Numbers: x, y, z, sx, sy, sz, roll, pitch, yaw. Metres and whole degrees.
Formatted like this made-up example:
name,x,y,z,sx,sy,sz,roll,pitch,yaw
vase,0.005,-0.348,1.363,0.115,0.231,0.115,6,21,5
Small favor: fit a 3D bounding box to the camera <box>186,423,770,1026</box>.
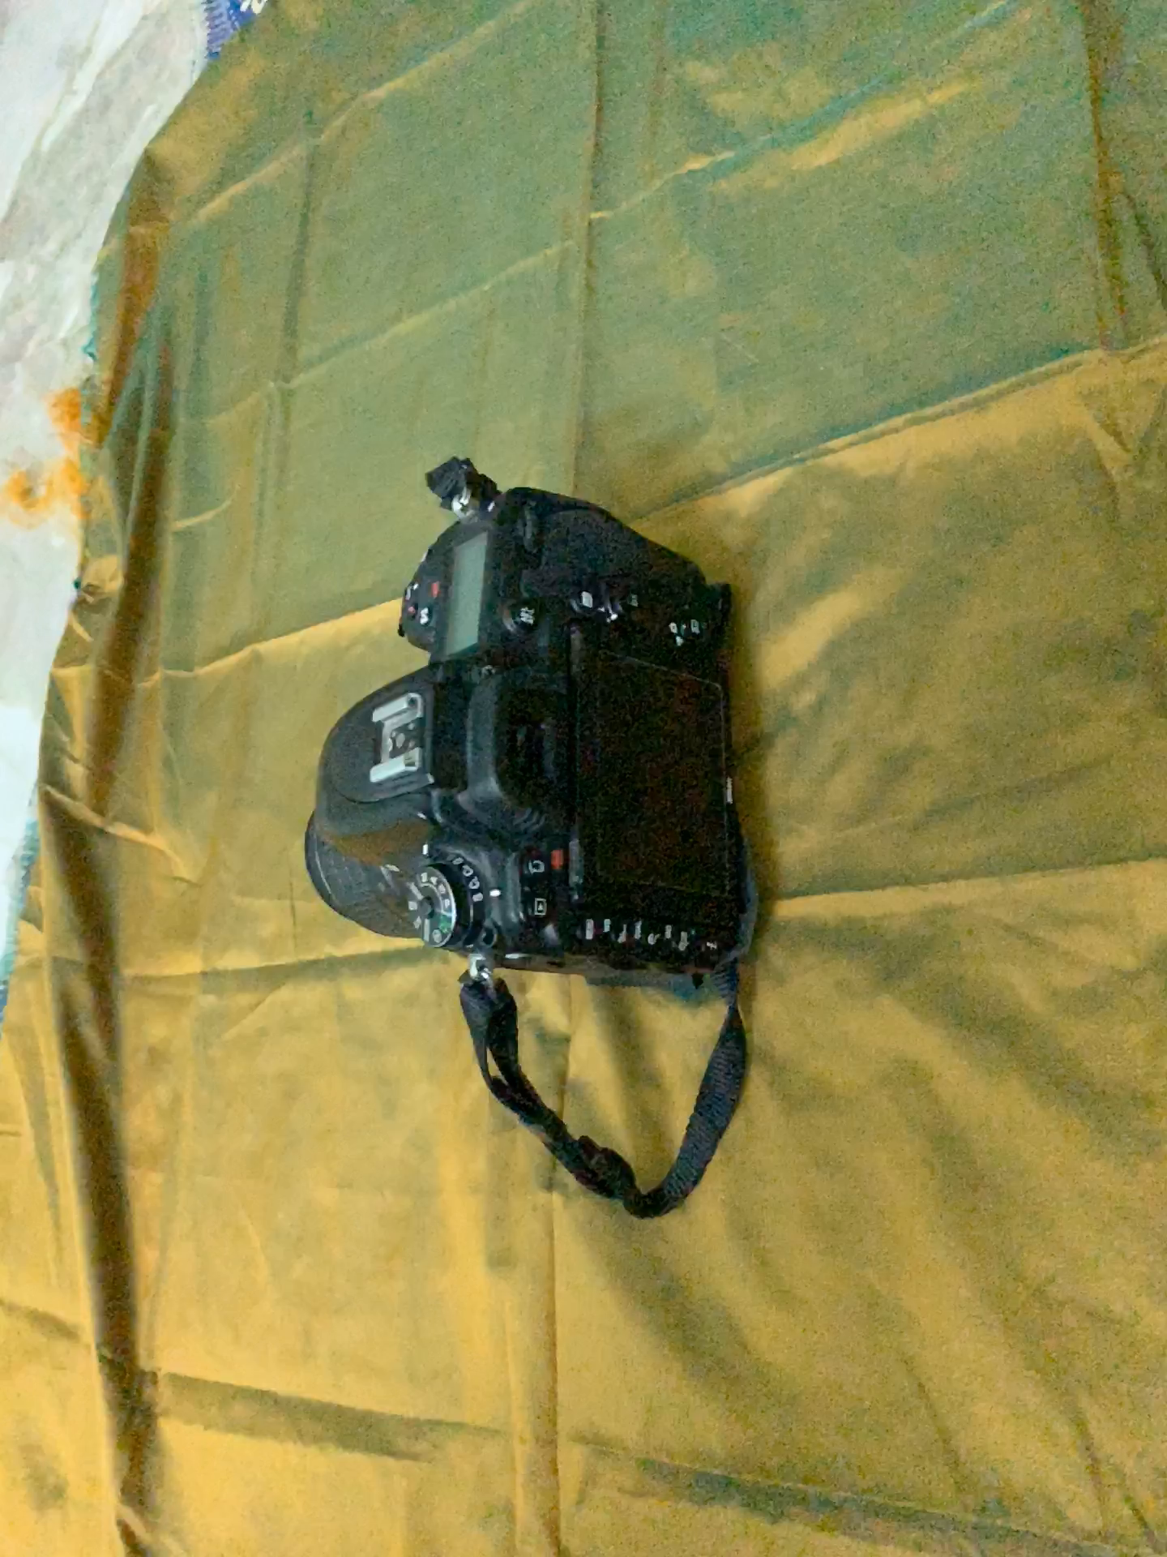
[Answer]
name,x,y,z,sx,sy,sz,roll,pitch,yaw
camera,-0.032,-0.001,0.376,0.132,0.119,0.135,-19,62,49
